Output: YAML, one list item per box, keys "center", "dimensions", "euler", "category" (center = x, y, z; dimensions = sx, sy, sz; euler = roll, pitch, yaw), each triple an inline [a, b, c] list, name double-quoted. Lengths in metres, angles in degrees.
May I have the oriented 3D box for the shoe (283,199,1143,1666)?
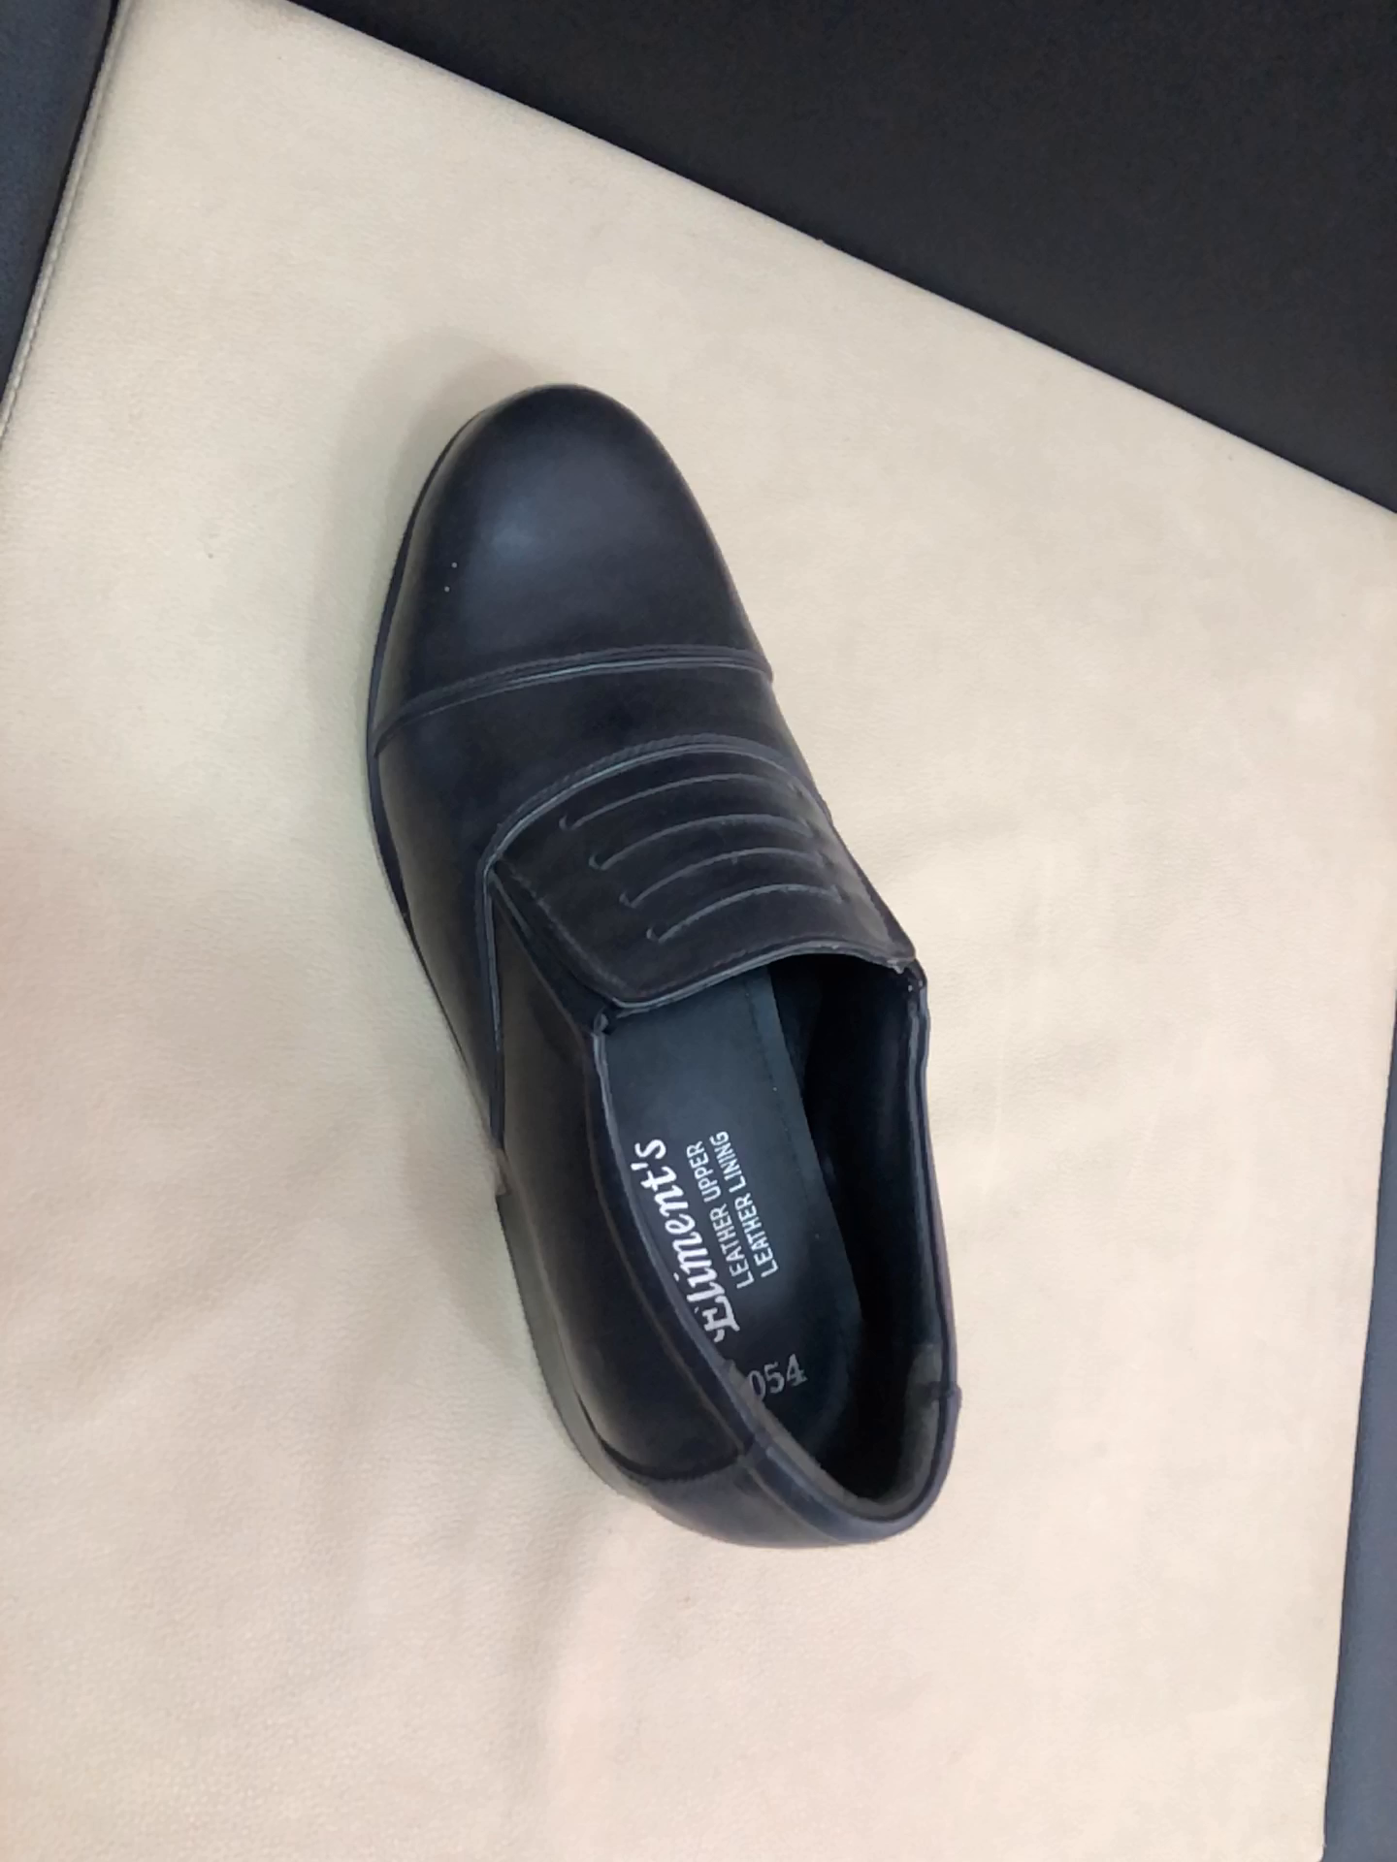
- center: [-0.006, -0.004, 0.354]
  dimensions: [0.100, 0.120, 0.270]
  euler: [-13, 91, -24]
  category: "shoe"
